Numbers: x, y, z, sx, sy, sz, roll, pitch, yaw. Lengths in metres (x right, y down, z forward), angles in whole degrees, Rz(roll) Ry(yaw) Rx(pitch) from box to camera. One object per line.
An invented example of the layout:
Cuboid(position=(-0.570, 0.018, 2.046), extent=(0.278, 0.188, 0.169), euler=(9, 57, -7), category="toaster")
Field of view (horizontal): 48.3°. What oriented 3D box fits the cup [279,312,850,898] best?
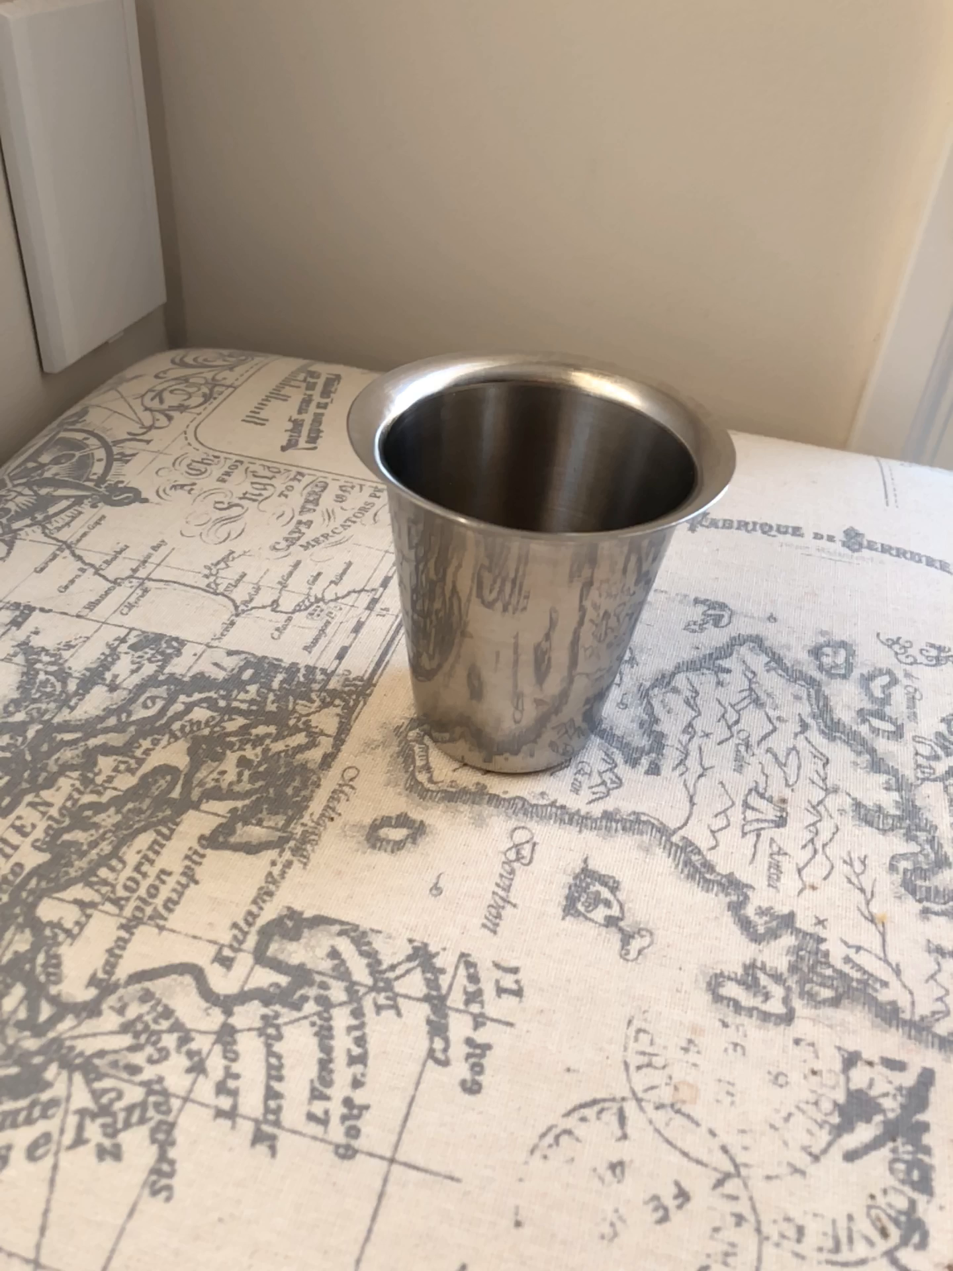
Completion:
Cuboid(position=(0.014, -0.013, 0.240), extent=(0.081, 0.081, 0.084), euler=(3, 37, -3), category="cup")
